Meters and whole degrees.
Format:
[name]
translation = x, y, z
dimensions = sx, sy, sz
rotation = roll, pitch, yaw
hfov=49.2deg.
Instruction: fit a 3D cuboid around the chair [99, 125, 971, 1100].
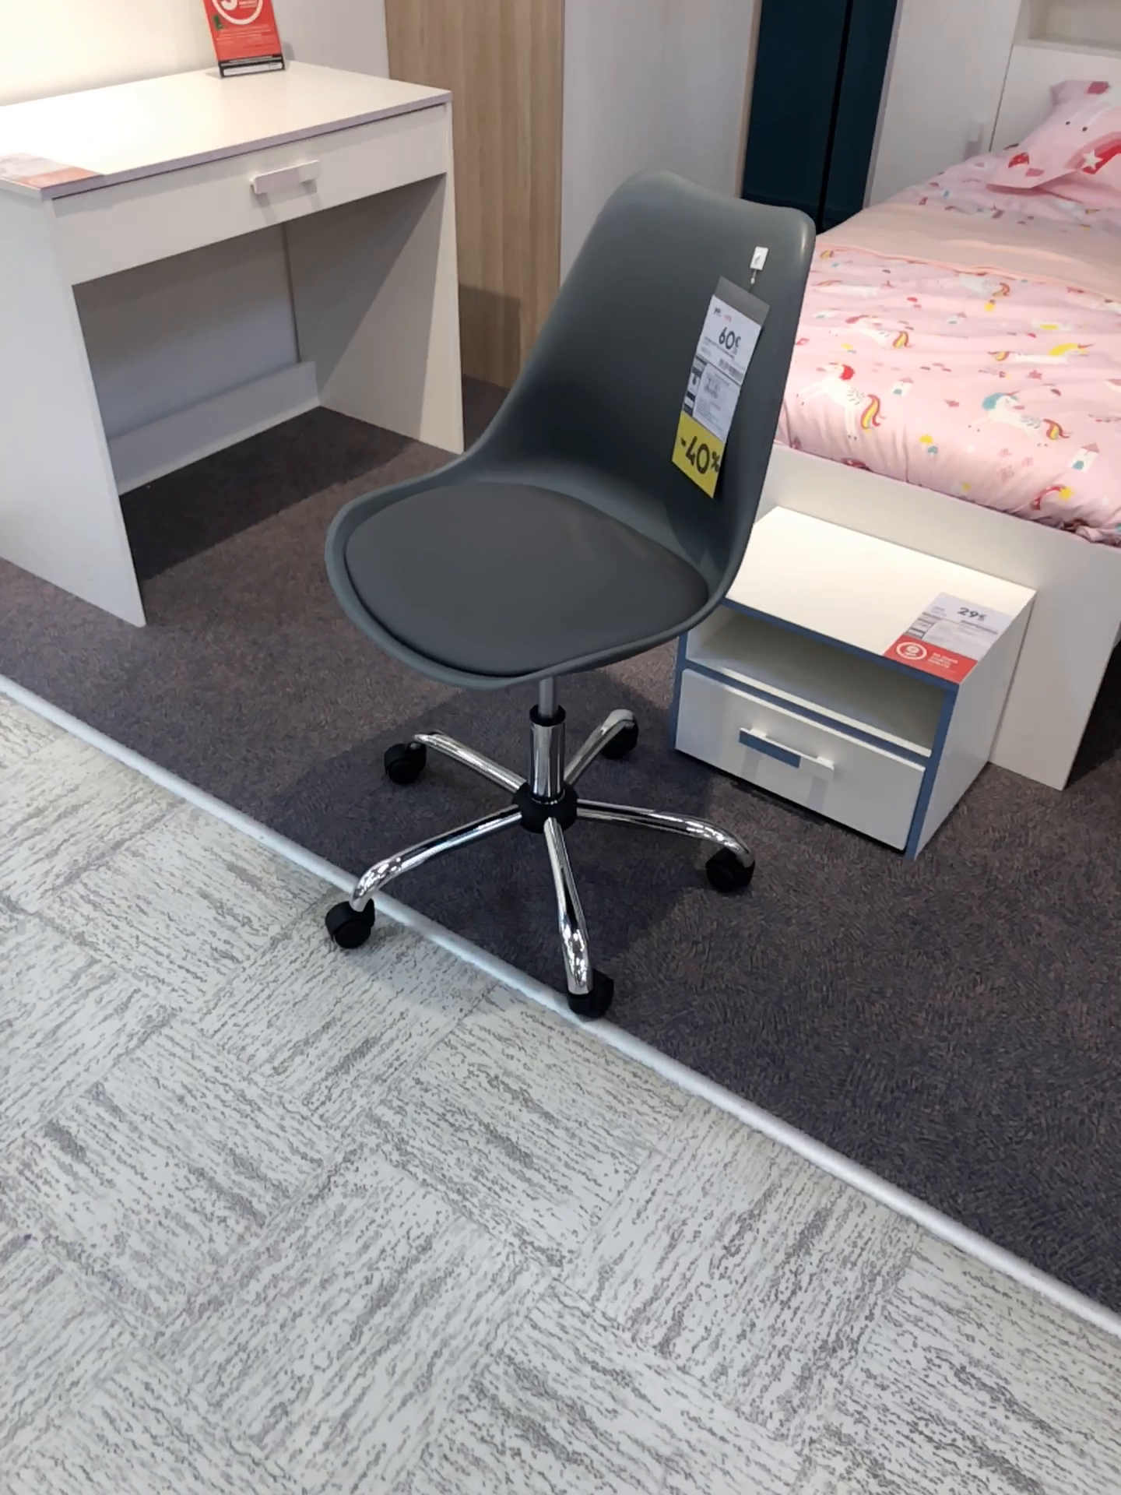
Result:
[chair]
translation = -0.035, -0.197, 1.479
dimensions = 0.633, 0.835, 0.601
rotation = -28, 47, -32
